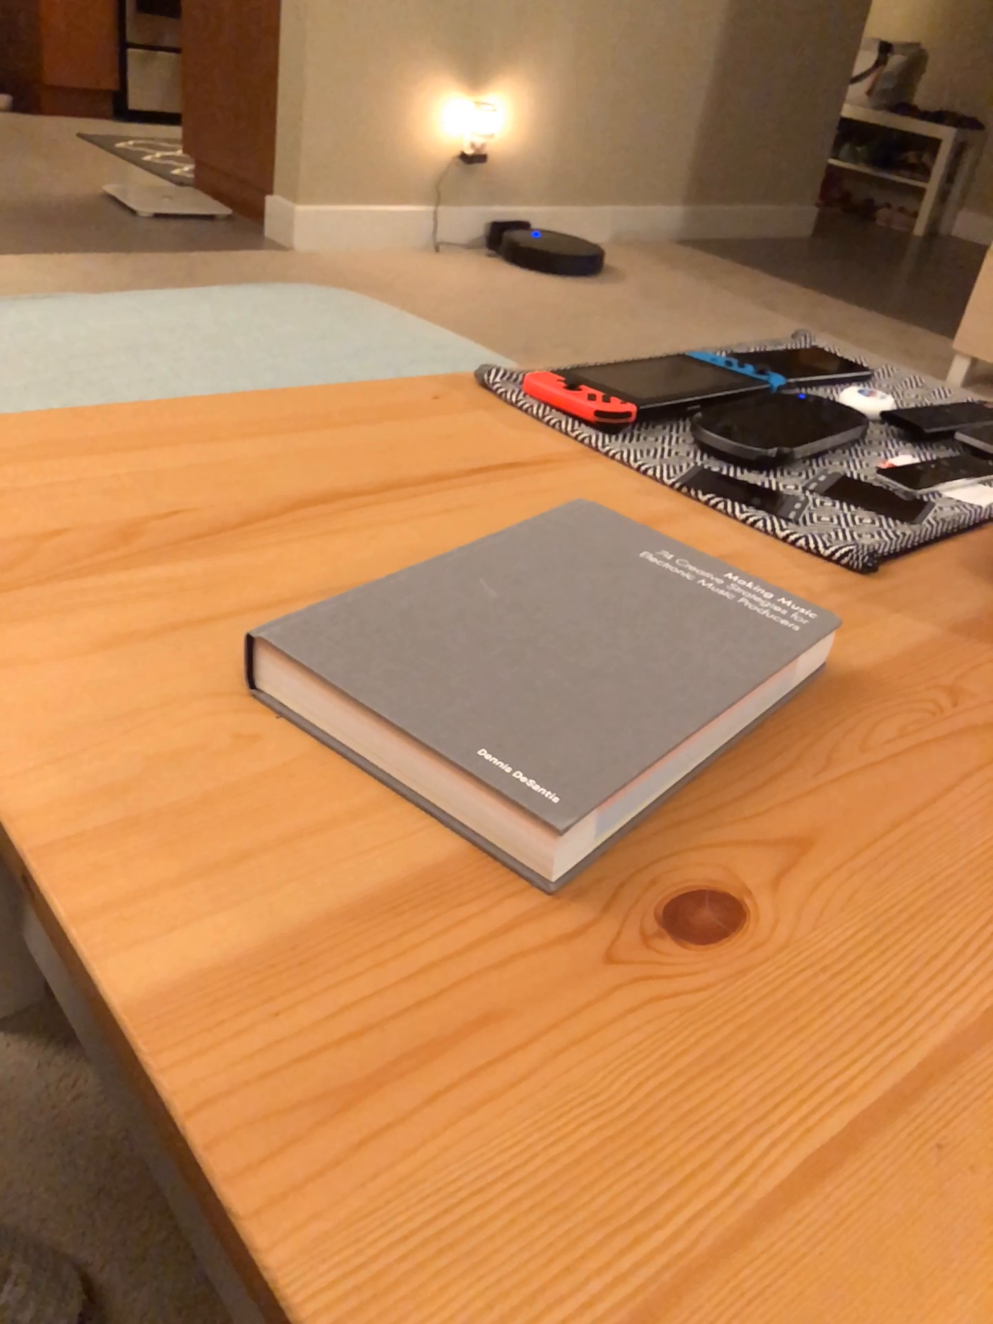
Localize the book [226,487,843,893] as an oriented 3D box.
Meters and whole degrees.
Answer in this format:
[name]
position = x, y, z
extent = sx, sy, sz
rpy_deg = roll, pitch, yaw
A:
[book]
position = 0.025, -0.008, 0.485
extent = 0.167, 0.030, 0.228
rpy_deg = 30, 37, 29
